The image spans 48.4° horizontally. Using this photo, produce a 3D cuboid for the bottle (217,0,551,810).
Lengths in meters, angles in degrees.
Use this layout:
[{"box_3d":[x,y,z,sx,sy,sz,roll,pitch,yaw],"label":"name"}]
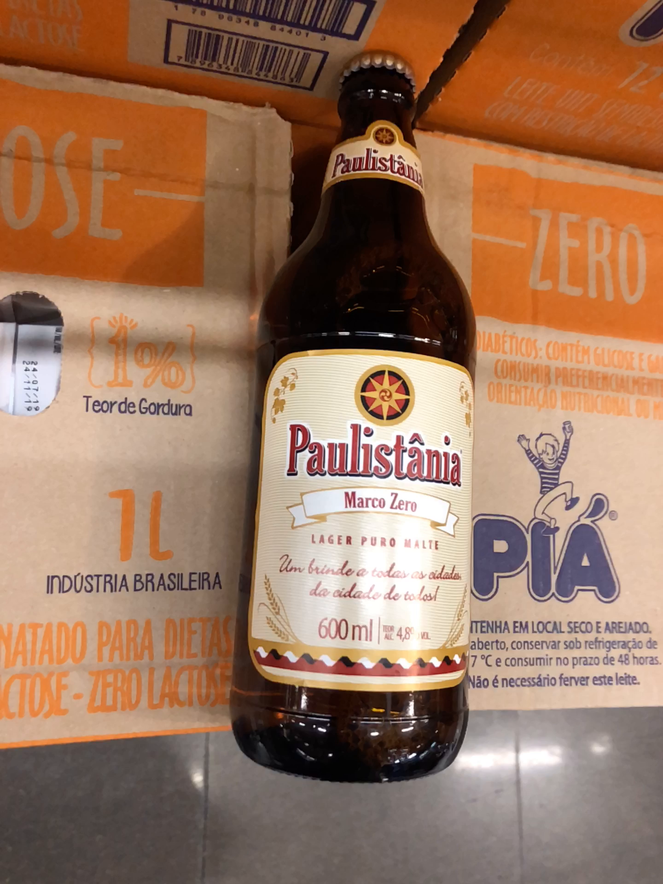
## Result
[{"box_3d":[0.015,-0.032,0.225,0.080,0.050,0.250,4,80,-15],"label":"bottle"}]
